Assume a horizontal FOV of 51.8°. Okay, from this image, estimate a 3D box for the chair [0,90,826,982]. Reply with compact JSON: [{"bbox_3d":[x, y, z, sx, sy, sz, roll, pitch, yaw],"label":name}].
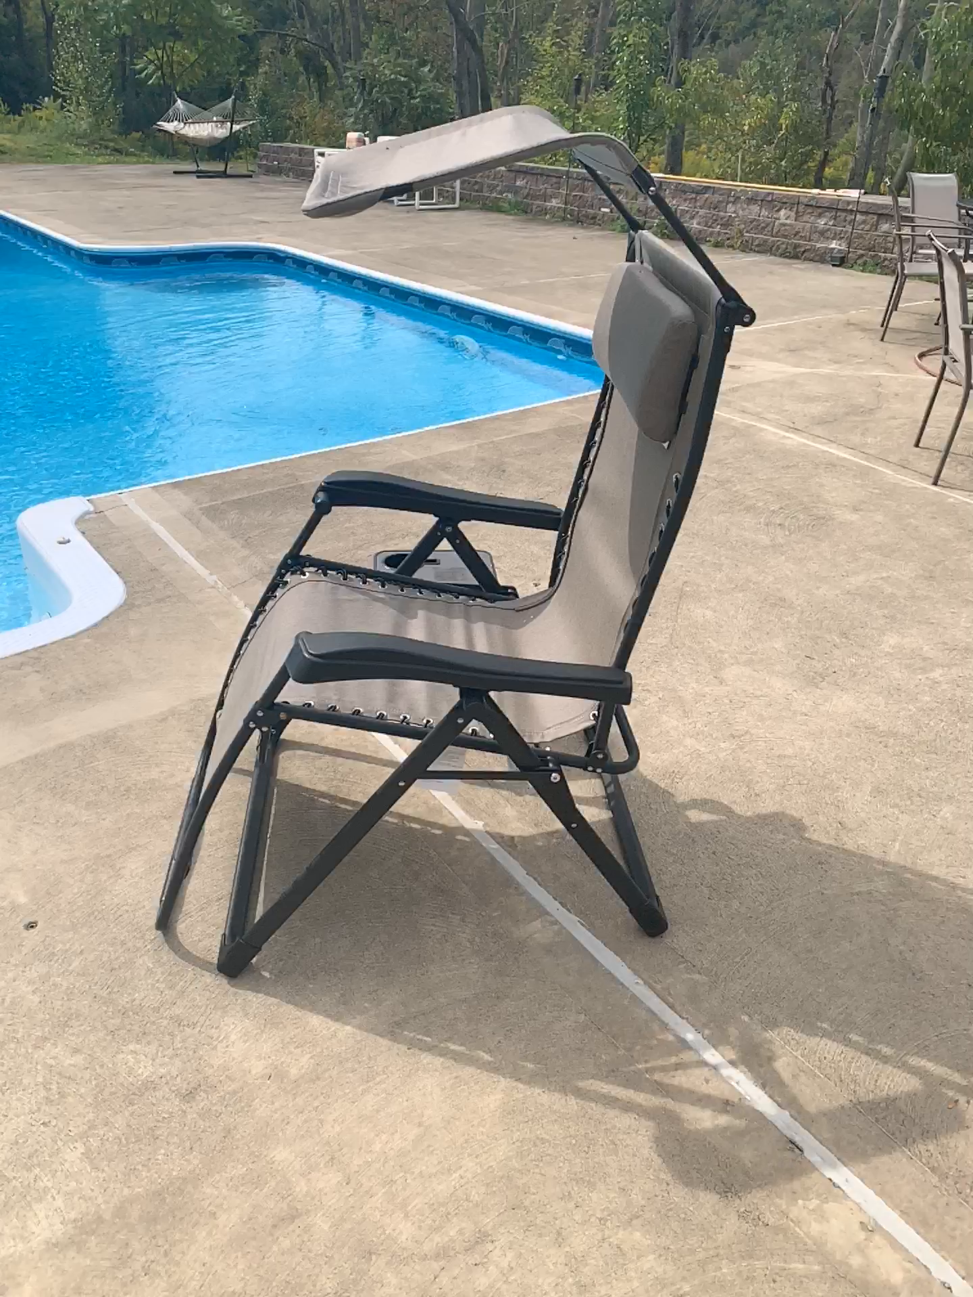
[{"bbox_3d":[-0.174,-0.274,1.672,0.919,1.137,1.055,-2,29,-3],"label":"chair"}]
